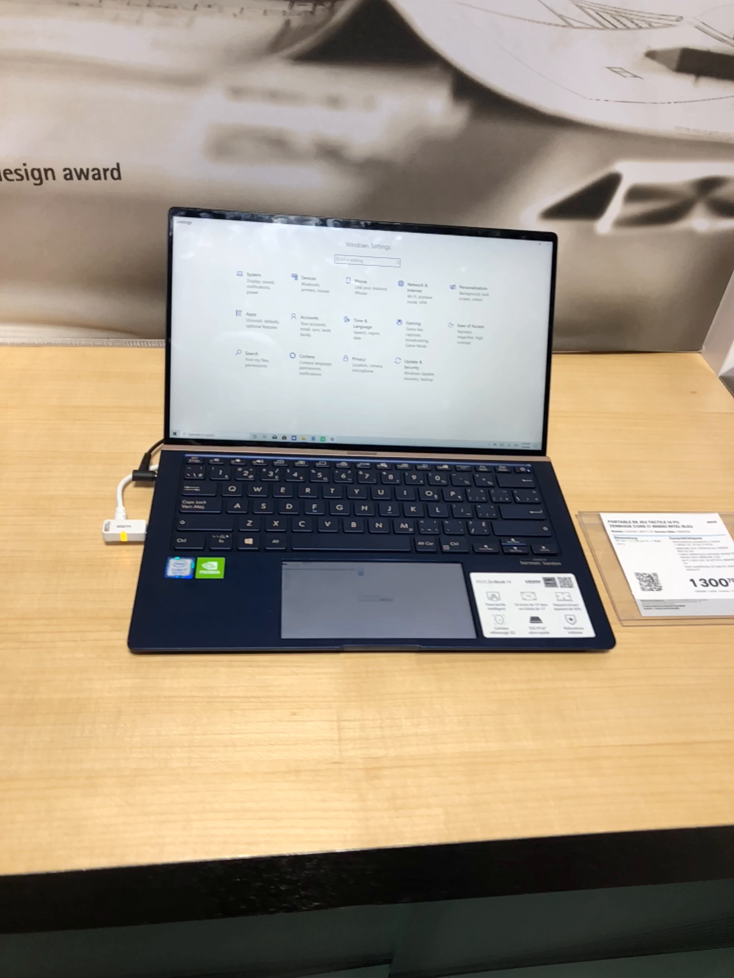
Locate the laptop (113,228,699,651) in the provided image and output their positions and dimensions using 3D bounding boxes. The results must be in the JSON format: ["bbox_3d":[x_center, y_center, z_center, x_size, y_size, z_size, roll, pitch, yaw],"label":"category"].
[{"bbox_3d":[0.014,-0.055,0.627,0.332,0.159,0.322,1,40,-7],"label":"laptop"}]
